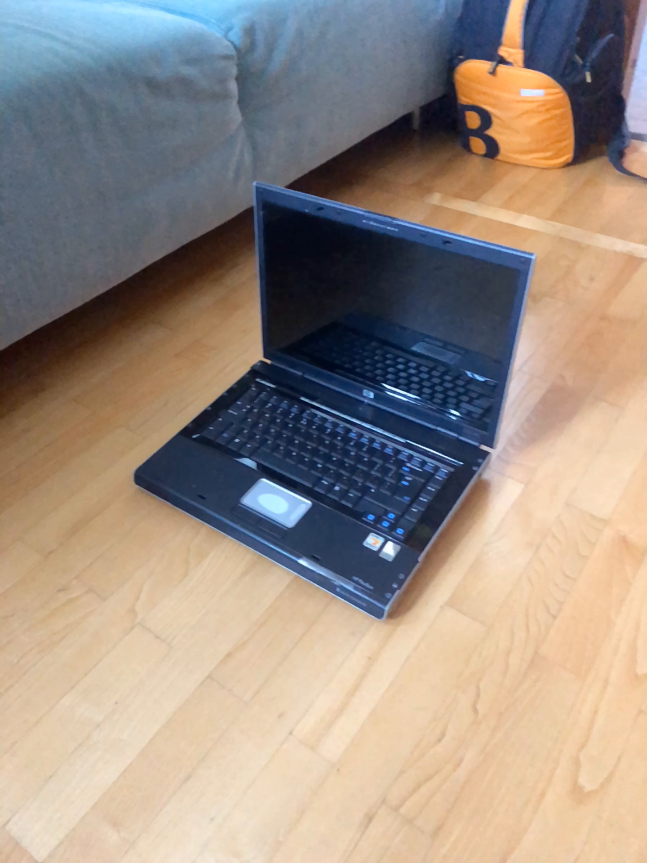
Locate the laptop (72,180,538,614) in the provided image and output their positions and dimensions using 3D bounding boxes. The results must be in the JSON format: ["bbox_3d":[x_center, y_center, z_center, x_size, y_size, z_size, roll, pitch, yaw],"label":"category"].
[{"bbox_3d":[-0.011,-0.064,0.807,0.363,0.254,0.307,23,50,26],"label":"laptop"}]
